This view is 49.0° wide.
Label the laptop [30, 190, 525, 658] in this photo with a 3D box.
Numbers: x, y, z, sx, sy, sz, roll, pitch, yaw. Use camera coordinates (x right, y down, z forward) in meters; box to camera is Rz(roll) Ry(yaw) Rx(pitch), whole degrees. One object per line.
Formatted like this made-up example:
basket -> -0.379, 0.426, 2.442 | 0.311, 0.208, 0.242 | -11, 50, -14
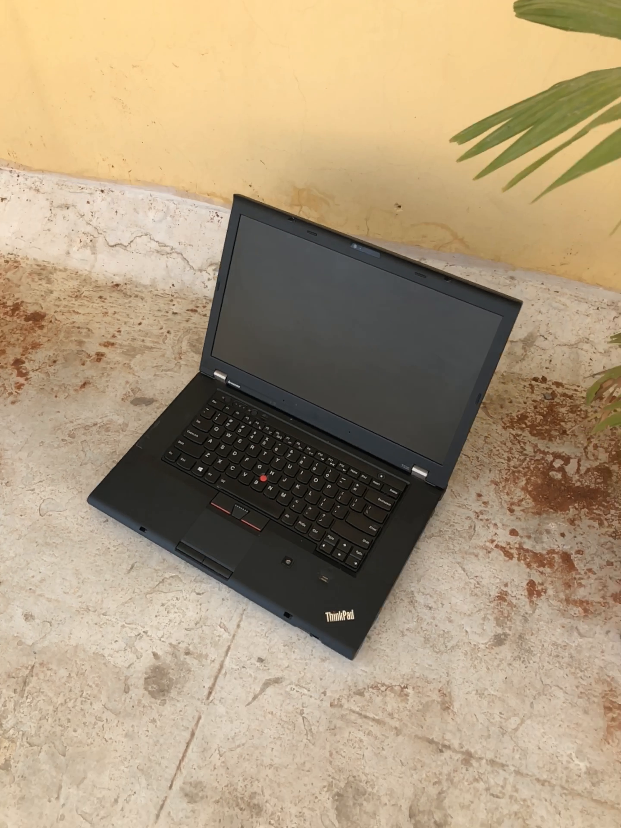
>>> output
laptop -> -0.022, -0.009, 0.764 | 0.361, 0.208, 0.353 | 25, 59, 19
